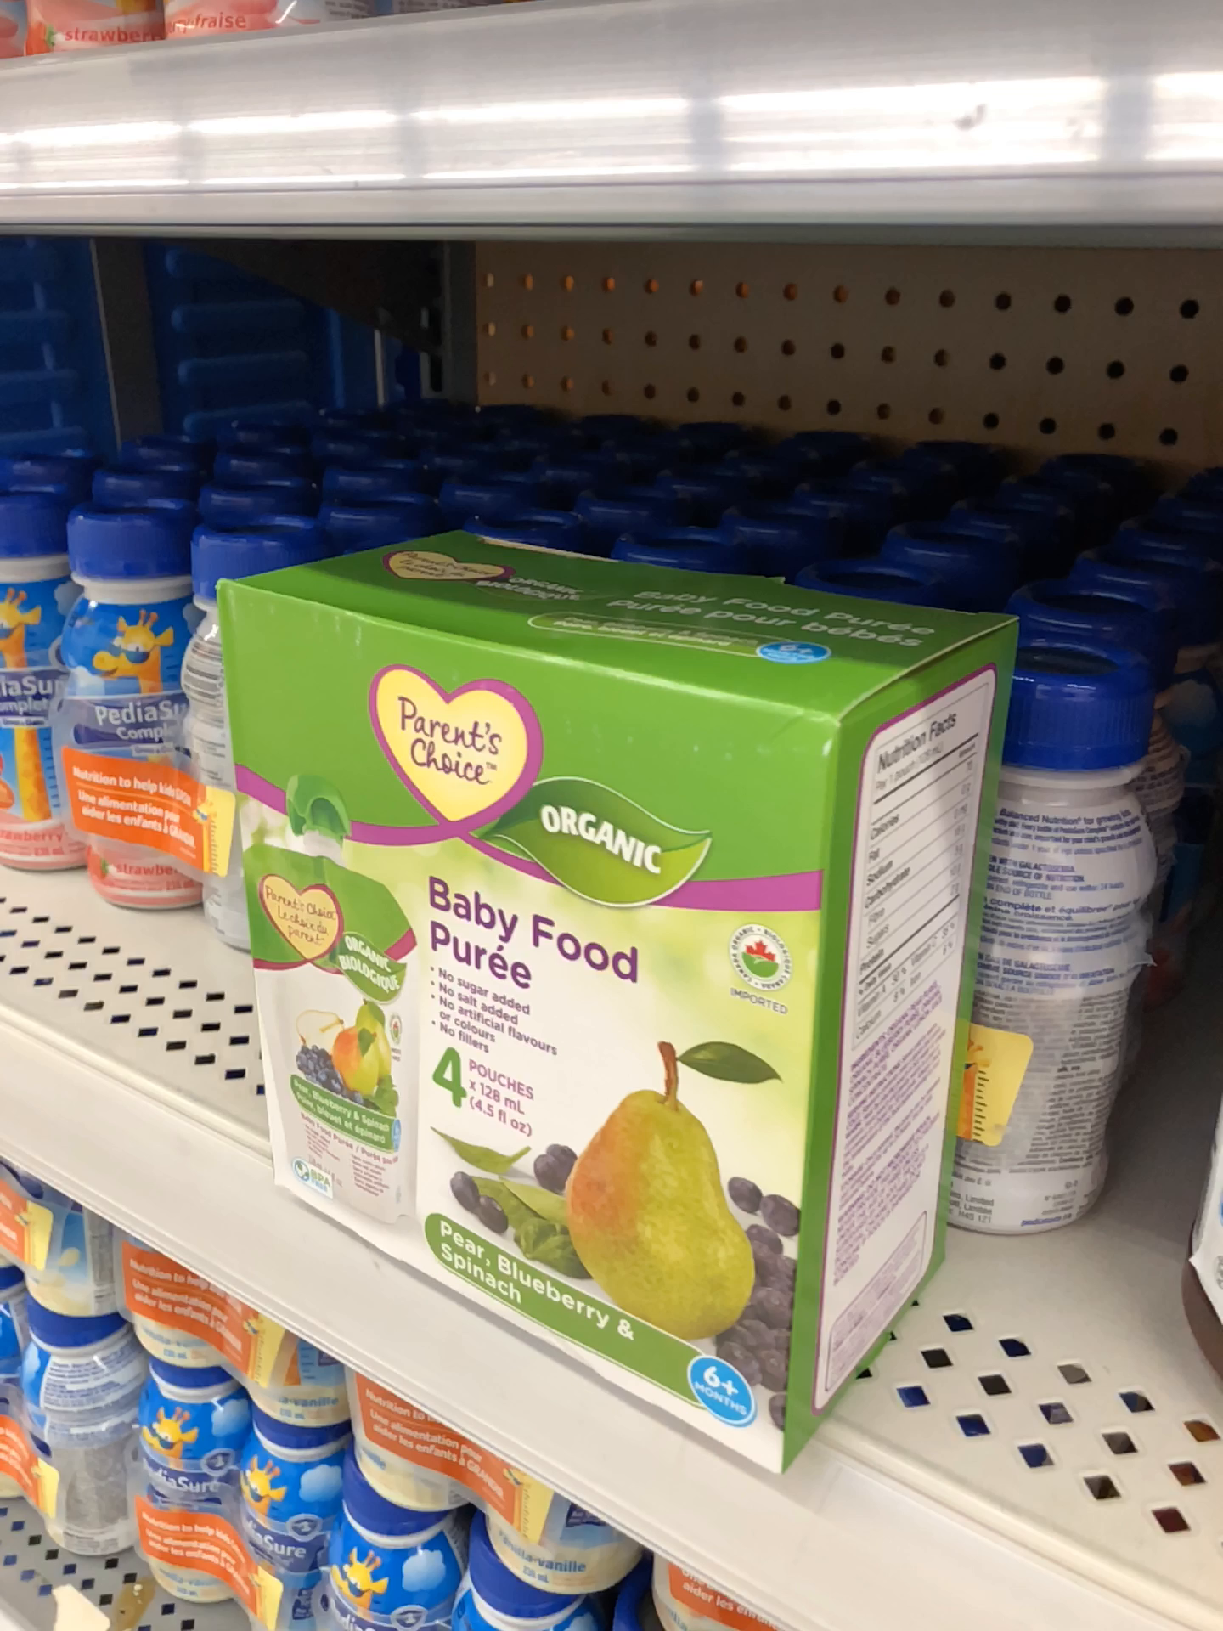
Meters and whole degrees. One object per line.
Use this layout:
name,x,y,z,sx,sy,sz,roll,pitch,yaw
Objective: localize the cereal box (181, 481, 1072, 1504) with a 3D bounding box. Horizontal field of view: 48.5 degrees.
cereal box,-0.001,0.023,0.297,0.150,0.159,0.090,17,28,31
